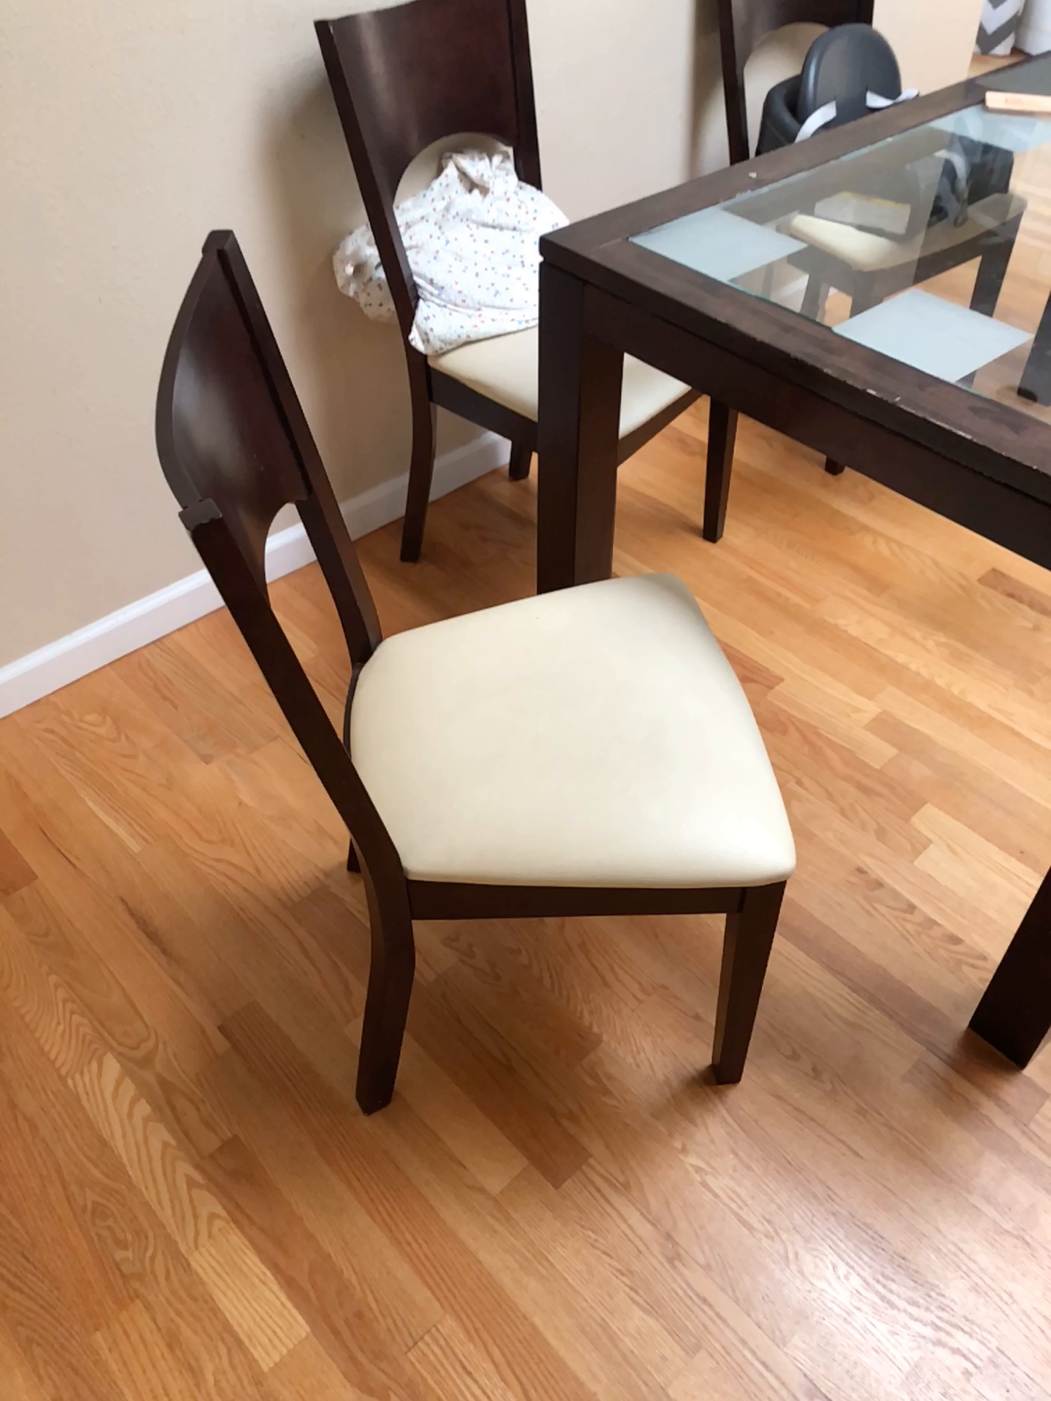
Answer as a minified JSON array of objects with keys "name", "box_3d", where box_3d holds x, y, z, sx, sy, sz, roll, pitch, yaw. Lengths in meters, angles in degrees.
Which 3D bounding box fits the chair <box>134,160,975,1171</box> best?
[{"name":"chair","box_3d":[-0.021,-0.014,1.281,0.570,0.895,0.593,-7,44,-8]}]
